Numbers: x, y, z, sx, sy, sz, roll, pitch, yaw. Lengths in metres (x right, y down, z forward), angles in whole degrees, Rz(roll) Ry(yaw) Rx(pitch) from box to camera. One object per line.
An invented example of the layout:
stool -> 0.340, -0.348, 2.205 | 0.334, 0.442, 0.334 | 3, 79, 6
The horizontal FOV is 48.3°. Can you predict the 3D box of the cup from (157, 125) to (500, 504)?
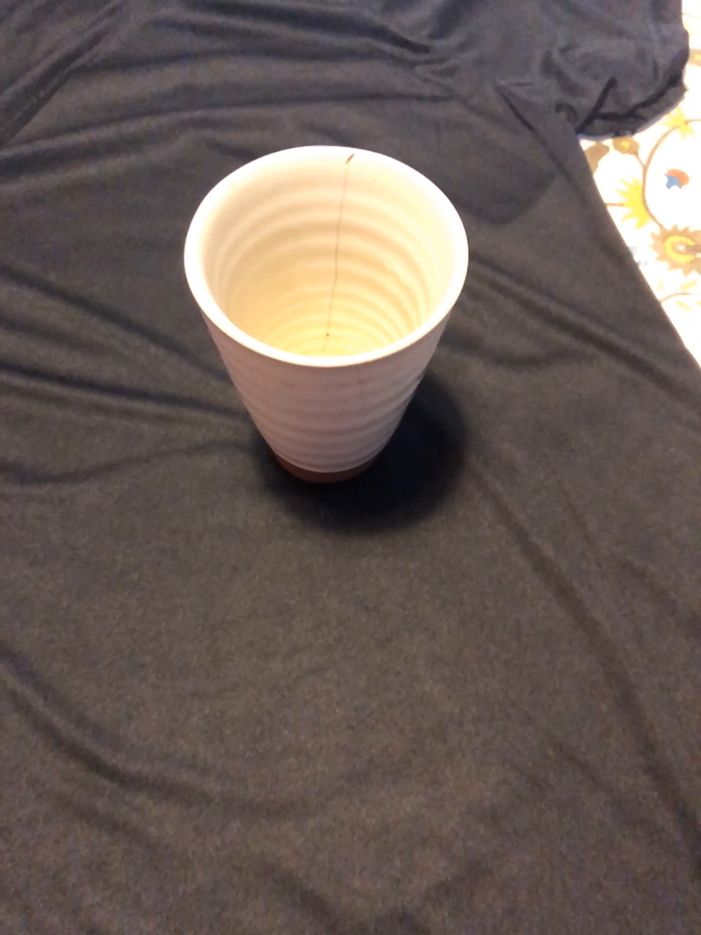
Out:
cup -> -0.006, -0.046, 0.268 | 0.090, 0.100, 0.080 | 2, 64, -1
